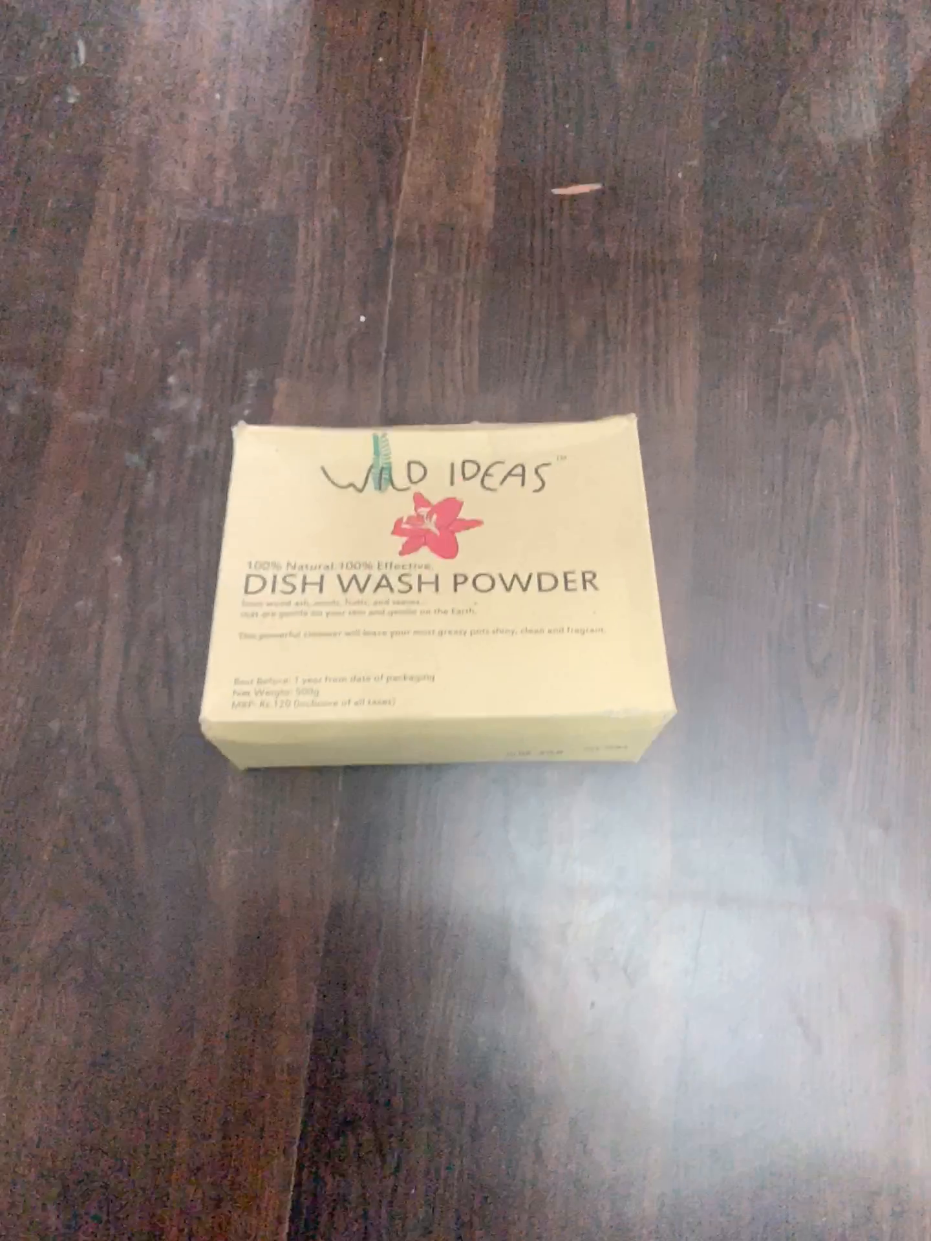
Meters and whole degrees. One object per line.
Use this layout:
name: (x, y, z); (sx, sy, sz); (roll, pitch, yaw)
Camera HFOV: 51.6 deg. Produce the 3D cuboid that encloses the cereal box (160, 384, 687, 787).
cereal box: (-0.015, -0.016, 0.390); (0.180, 0.060, 0.150); (-1, 62, 0)
